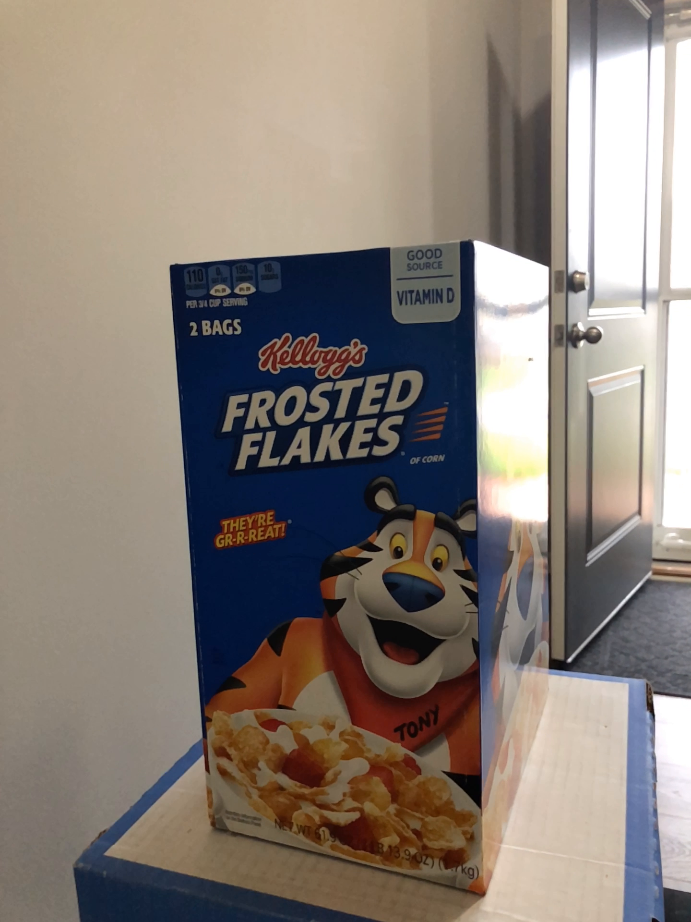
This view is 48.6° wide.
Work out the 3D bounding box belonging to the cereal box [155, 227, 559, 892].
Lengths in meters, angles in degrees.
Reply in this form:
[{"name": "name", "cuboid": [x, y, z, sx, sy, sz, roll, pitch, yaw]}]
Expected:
[{"name": "cereal box", "cuboid": [0.037, 0.032, 0.506, 0.170, 0.319, 0.260, 1, 10, 23]}]
